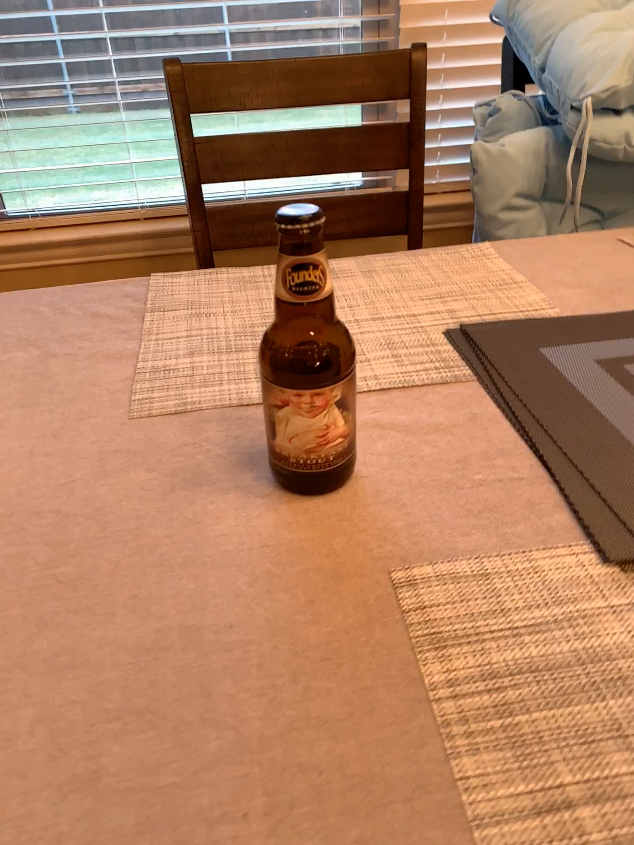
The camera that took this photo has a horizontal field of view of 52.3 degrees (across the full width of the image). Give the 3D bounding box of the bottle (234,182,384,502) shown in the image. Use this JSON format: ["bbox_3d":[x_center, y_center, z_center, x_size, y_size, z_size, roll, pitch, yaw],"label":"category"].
[{"bbox_3d":[-0.001,-0.049,0.427,0.080,0.189,0.080,-2,33,1],"label":"bottle"}]
